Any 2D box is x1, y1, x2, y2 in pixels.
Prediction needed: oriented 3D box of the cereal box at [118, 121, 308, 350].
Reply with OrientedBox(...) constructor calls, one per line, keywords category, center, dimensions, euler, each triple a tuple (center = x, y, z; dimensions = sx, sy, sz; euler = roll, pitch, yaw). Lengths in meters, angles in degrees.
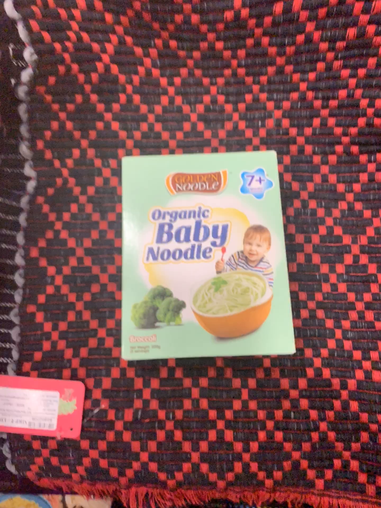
OrientedBox(category="cereal box", center=(0.013, -0.012, 0.321), dimensions=(0.130, 0.060, 0.170), euler=(-2, 76, 0))
